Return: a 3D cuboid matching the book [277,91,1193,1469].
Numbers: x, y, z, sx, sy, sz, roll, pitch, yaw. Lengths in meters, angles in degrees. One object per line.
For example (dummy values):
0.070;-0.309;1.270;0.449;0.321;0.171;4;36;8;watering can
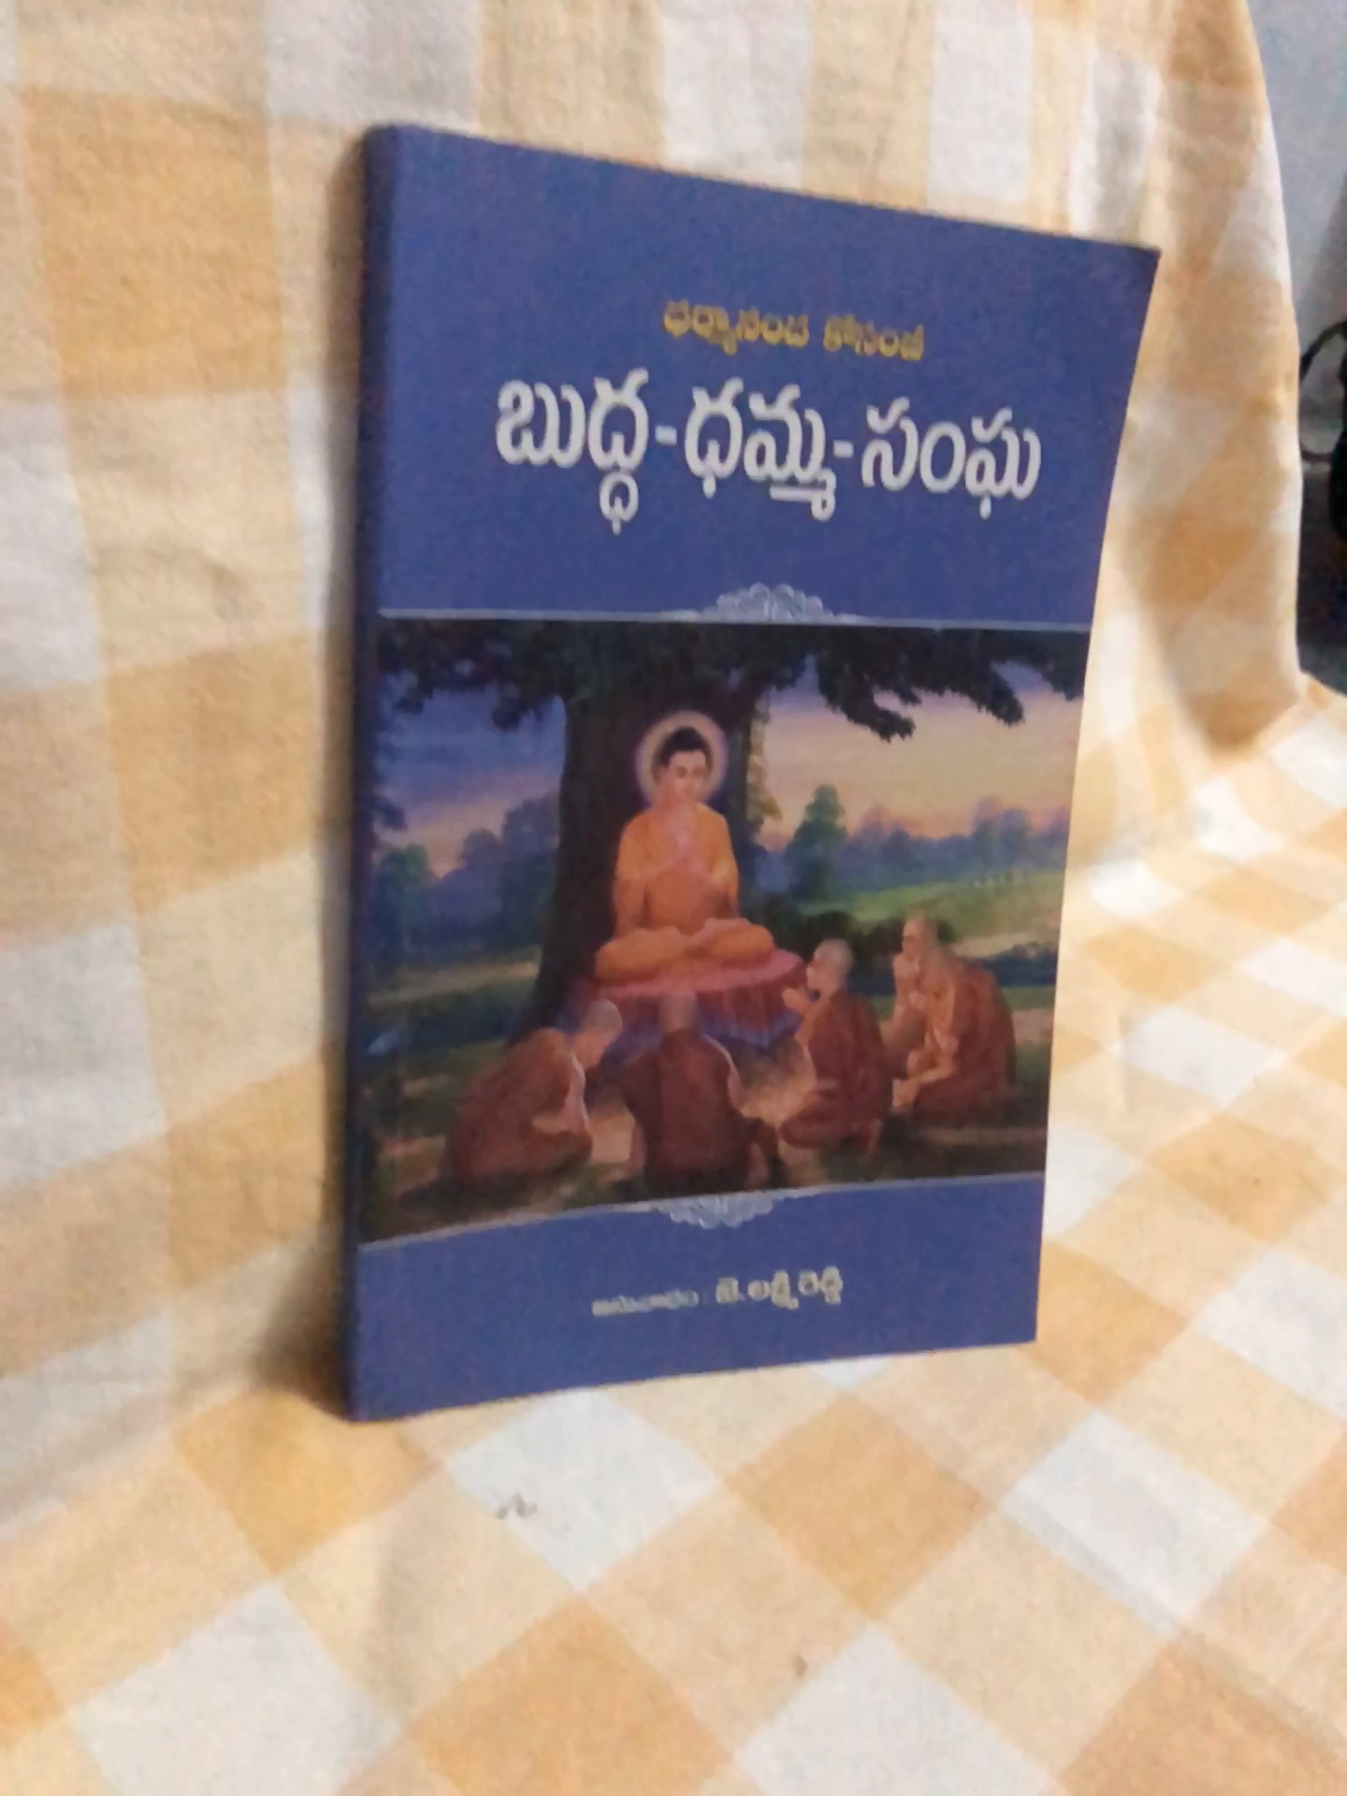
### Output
0.009;-0.012;0.267;0.150;0.219;0.020;-2;14;-17;book
